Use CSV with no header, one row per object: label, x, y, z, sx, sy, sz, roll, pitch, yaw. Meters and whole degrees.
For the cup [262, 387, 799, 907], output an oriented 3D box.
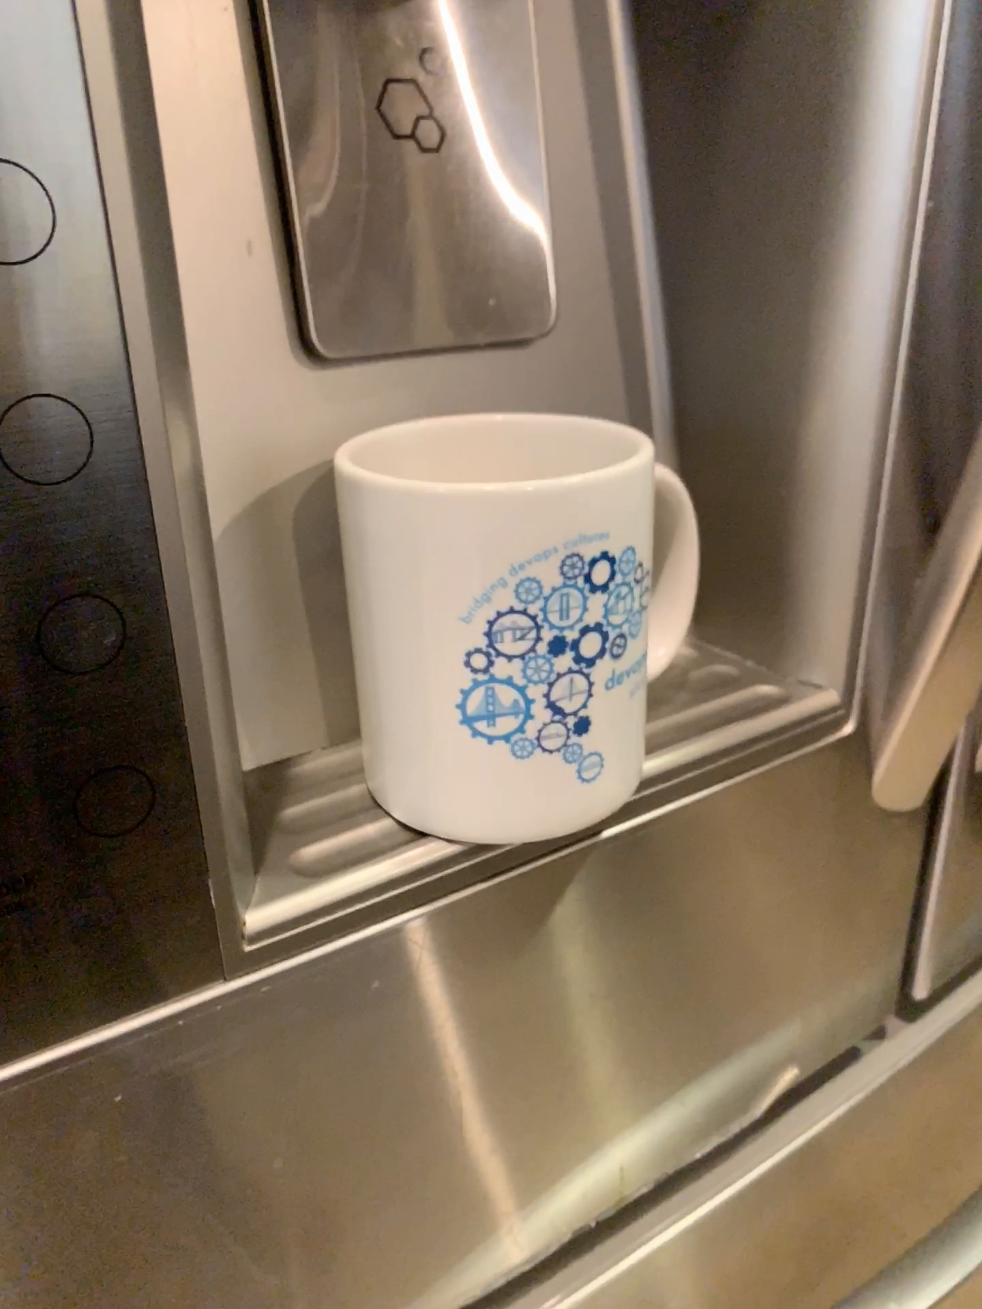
cup,0.013,-0.013,0.293,0.120,0.099,0.080,-20,30,-35
